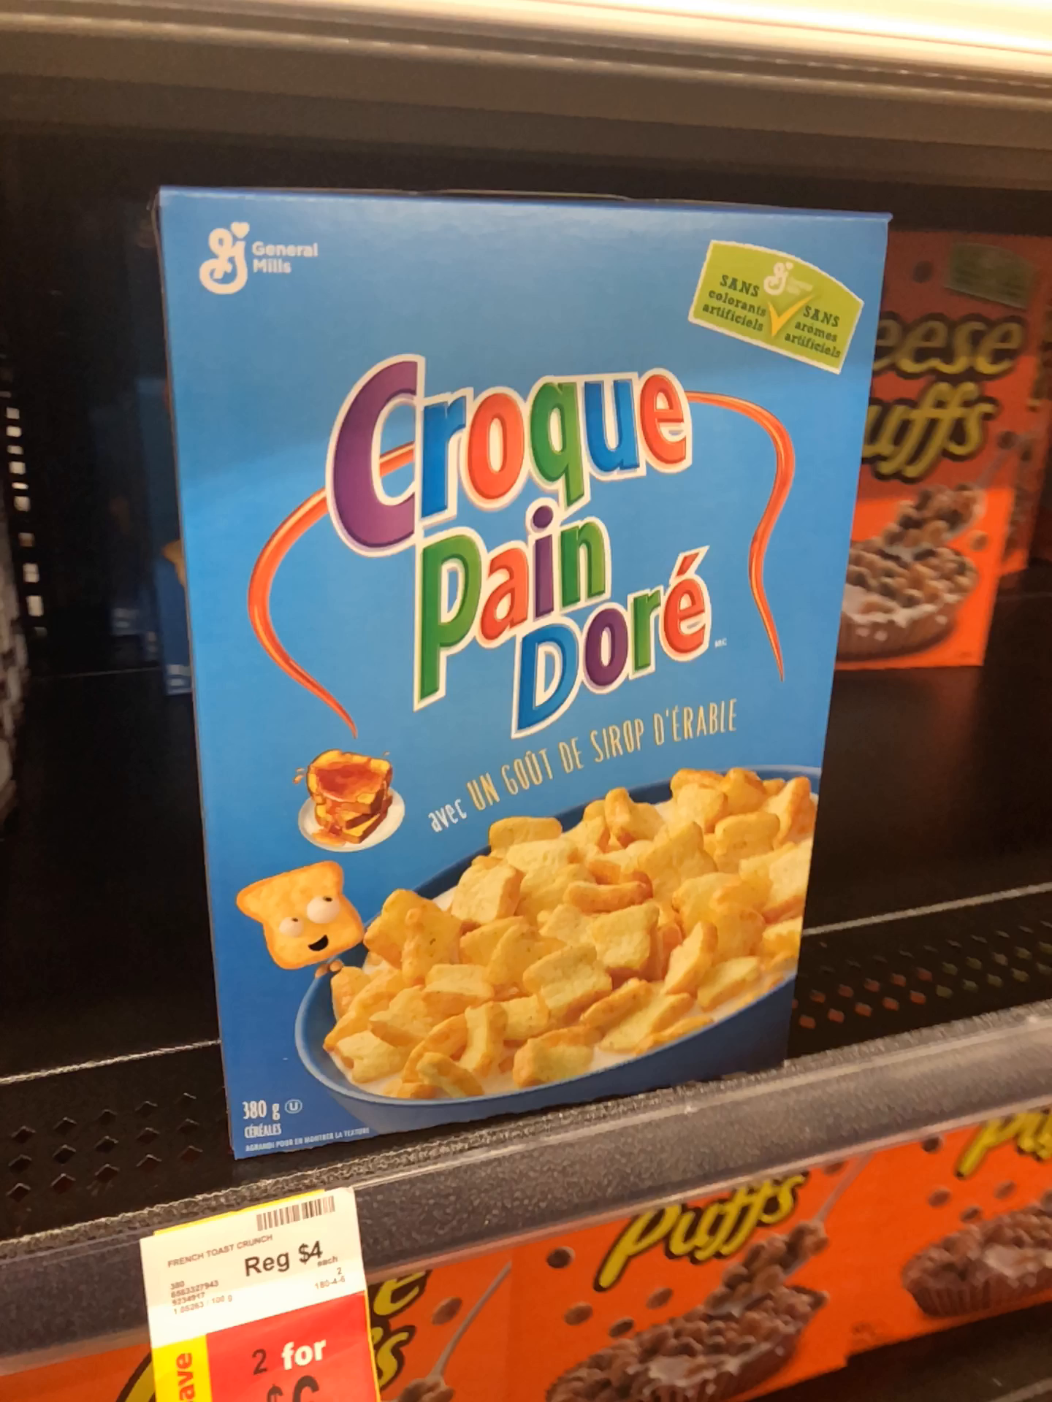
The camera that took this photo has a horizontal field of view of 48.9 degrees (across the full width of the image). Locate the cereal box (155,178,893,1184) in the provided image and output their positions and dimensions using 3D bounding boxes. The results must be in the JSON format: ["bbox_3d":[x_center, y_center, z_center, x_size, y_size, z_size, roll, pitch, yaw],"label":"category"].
[{"bbox_3d":[-0.003,-0.001,0.379,0.200,0.298,0.060,-4,20,-15],"label":"cereal box"}]
